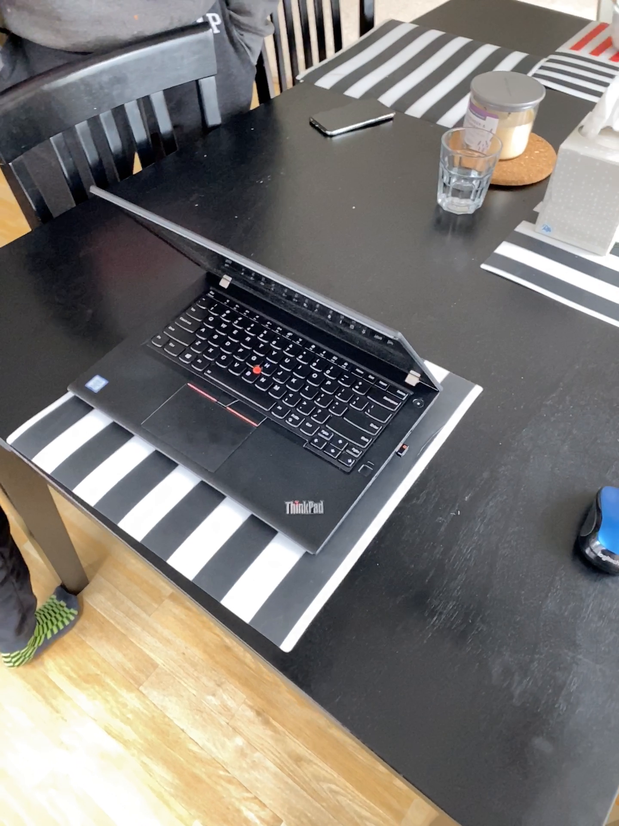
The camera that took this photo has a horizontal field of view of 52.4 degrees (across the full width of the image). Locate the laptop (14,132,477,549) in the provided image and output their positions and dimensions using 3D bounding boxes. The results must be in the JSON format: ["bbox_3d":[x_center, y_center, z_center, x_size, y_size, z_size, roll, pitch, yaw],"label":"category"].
[{"bbox_3d":[-0.055,-0.084,0.590,0.321,0.175,0.221,30,56,22],"label":"laptop"}]
